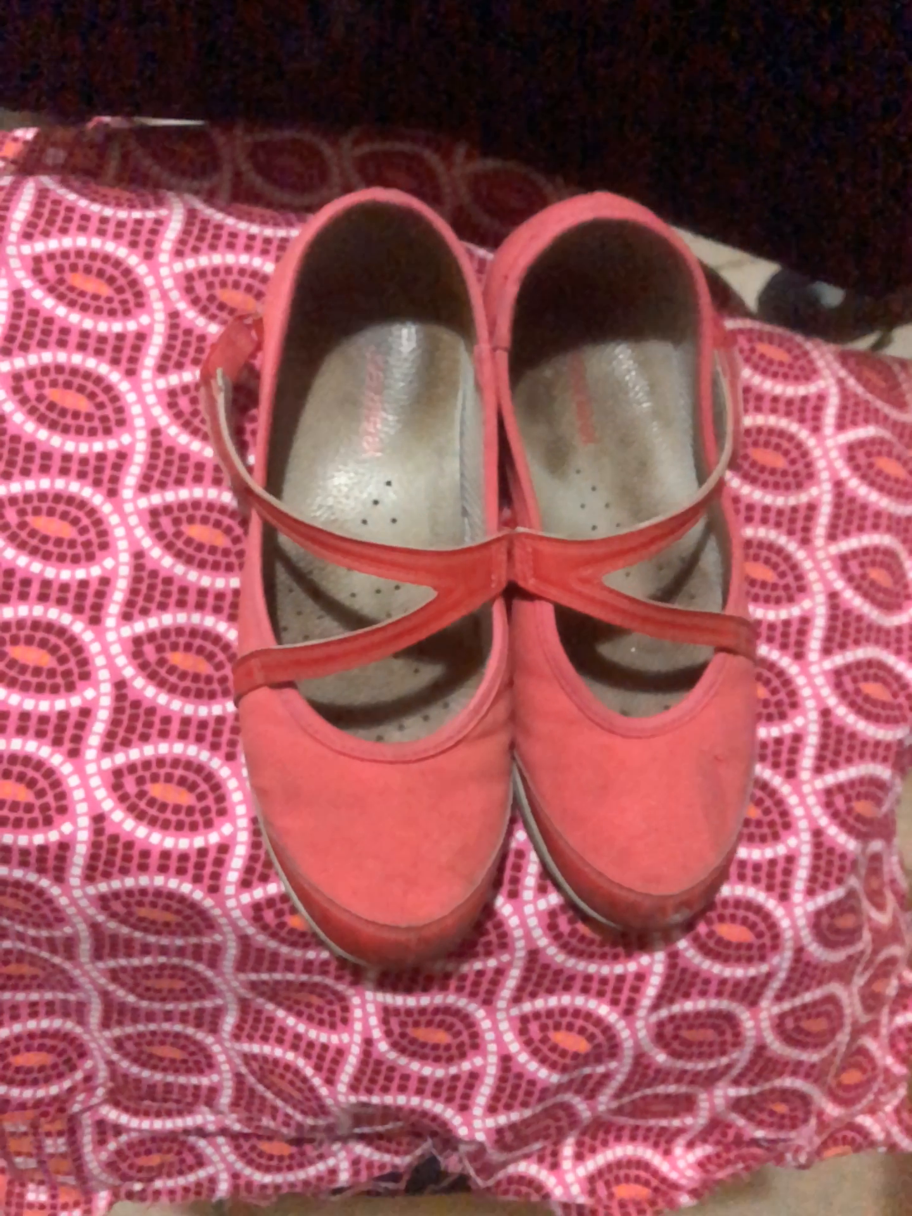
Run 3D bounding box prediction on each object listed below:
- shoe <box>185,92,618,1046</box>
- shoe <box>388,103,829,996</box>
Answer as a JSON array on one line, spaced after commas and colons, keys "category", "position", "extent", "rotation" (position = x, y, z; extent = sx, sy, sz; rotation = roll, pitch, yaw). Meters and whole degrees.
[{"category": "shoe", "position": [-0.025, -0.017, 0.364], "extent": [0.110, 0.100, 0.290], "rotation": [-4, 85, -9]}, {"category": "shoe", "position": [0.048, -0.025, 0.396], "extent": [0.110, 0.100, 0.300], "rotation": [-6, 85, -9]}]
